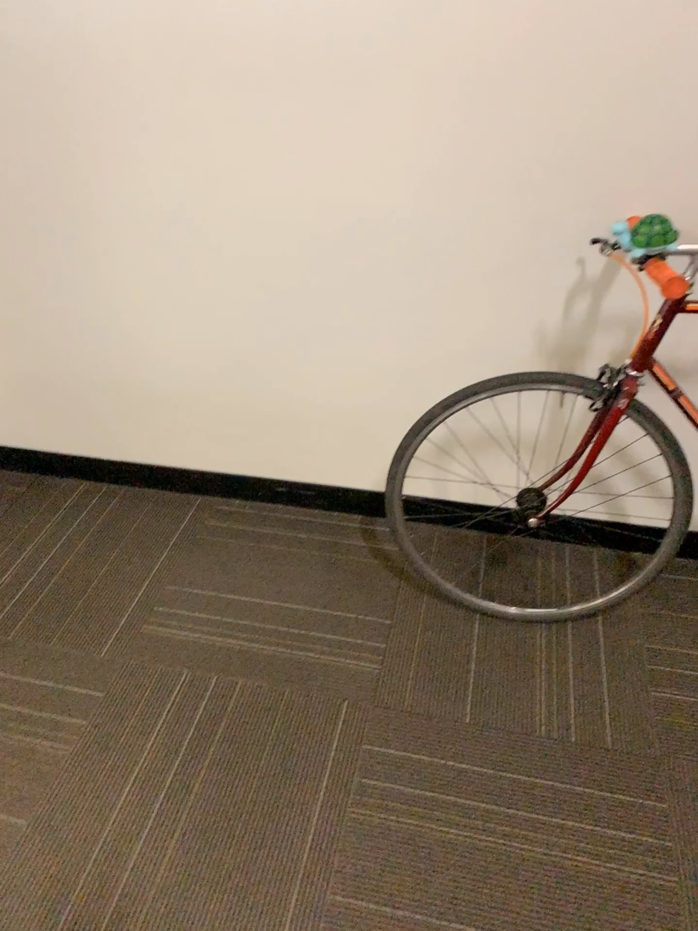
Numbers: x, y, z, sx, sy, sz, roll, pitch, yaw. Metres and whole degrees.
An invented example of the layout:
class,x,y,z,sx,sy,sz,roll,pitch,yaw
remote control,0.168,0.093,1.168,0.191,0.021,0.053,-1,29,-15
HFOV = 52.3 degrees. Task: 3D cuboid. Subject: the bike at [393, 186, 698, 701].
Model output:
class,x,y,z,sx,sy,sz,roll,pitch,yaw
bike,0.920,-0.044,1.515,1.626,0.909,0.451,3,36,5
